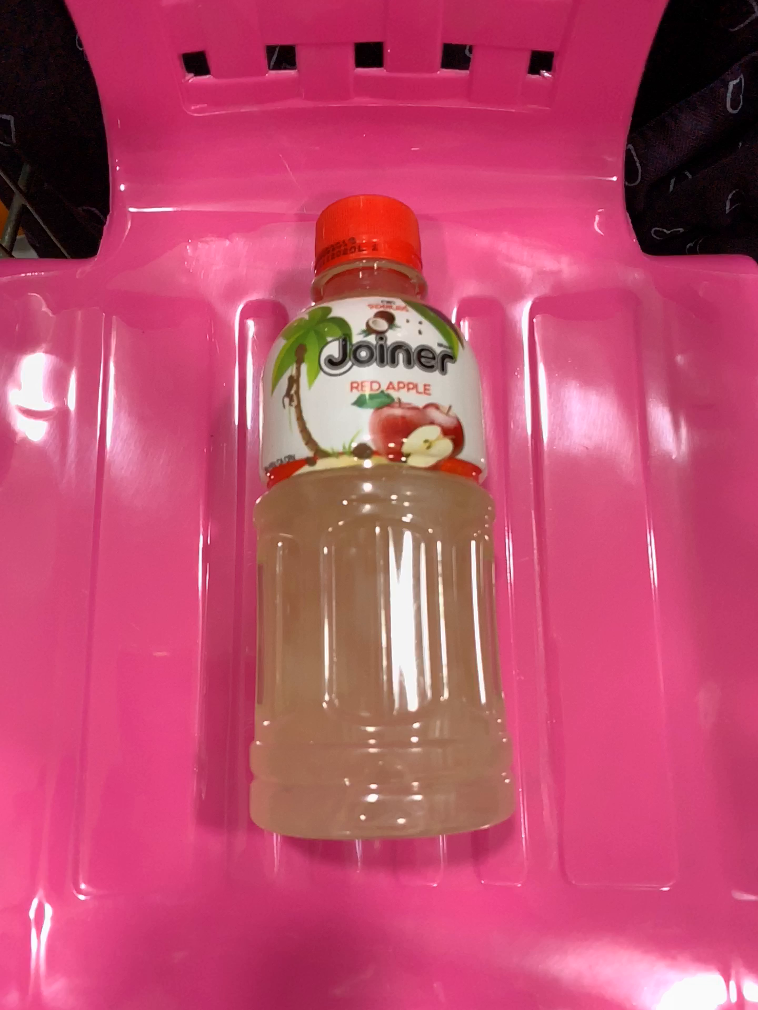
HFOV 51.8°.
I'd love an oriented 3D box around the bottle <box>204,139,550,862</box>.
[{"bbox_3d":[-0.003,-0.003,0.196,0.070,0.050,0.160,-1,80,-2],"label":"bottle"}]
